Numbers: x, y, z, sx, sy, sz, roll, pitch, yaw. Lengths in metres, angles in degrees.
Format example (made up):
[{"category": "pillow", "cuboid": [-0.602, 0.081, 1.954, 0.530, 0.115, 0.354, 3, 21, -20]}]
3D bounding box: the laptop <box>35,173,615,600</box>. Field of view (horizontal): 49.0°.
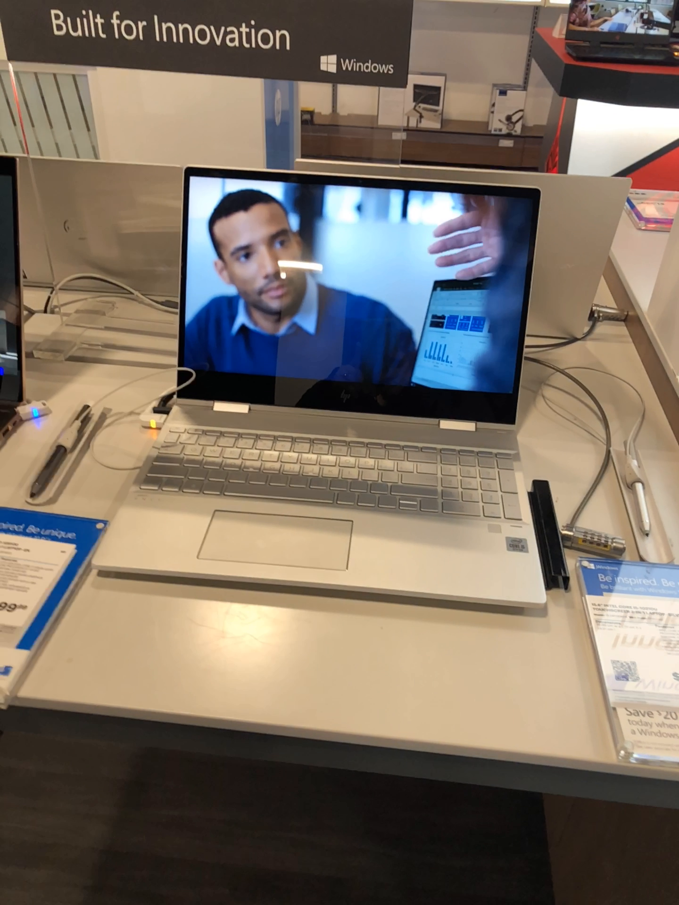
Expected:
[{"category": "laptop", "cuboid": [0.002, -0.086, 0.664, 0.358, 0.210, 0.355, 4, 35, 4]}]
